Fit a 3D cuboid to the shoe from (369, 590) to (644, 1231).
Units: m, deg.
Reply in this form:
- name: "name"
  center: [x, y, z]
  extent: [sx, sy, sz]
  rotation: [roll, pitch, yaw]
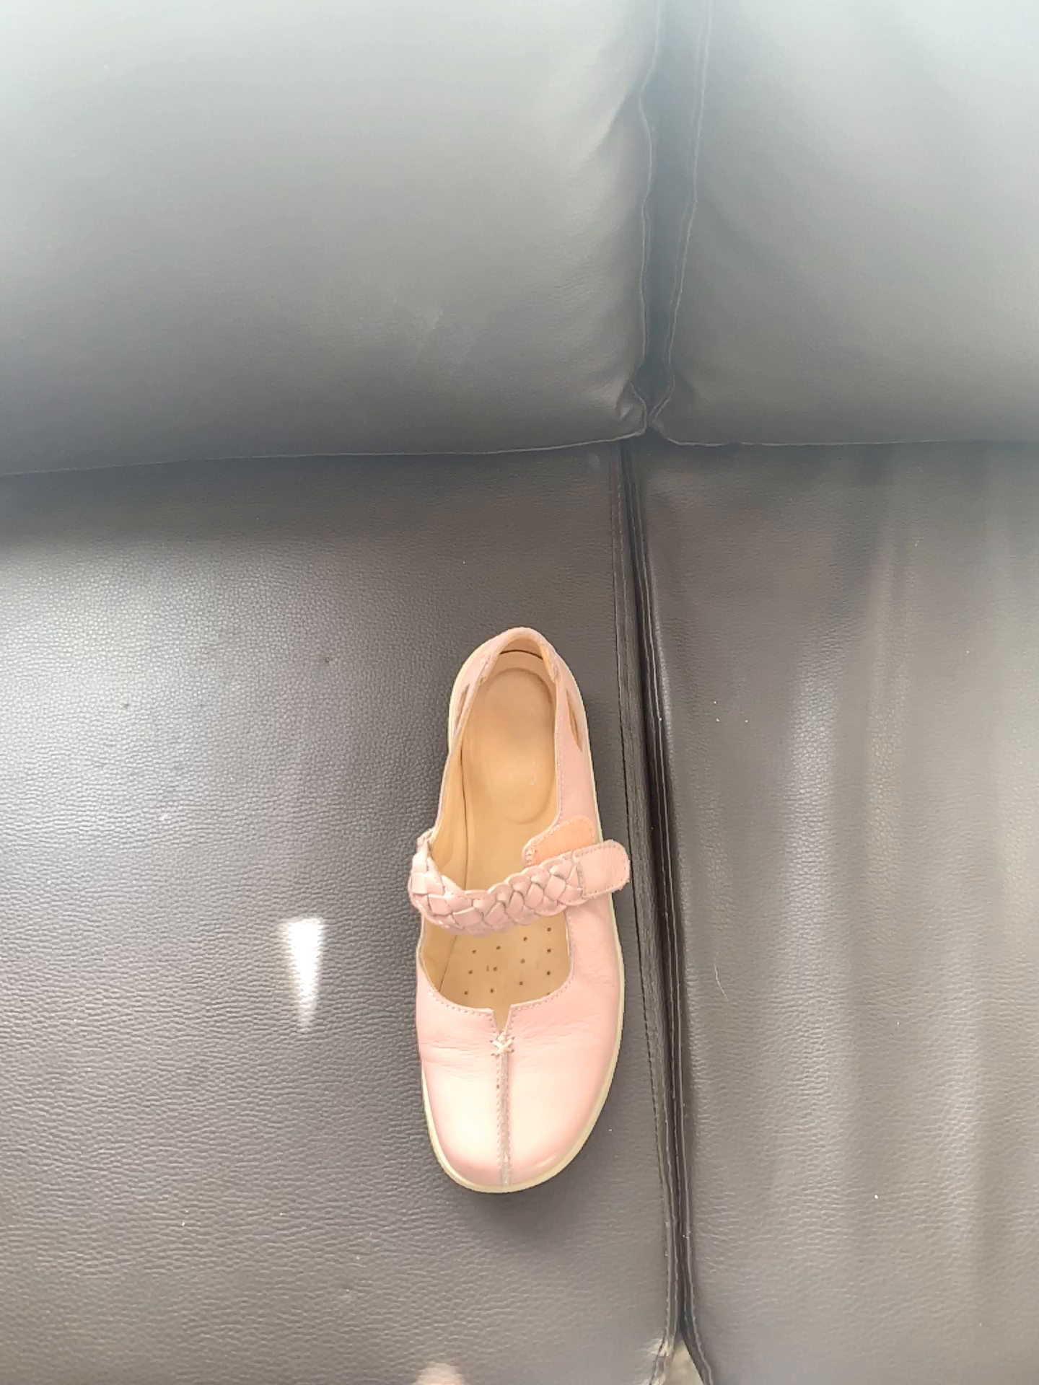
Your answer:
- name: "shoe"
  center: [0.000, 0.094, 0.490]
  extent: [0.104, 0.100, 0.261]
  rotation: [2, 72, 1]
